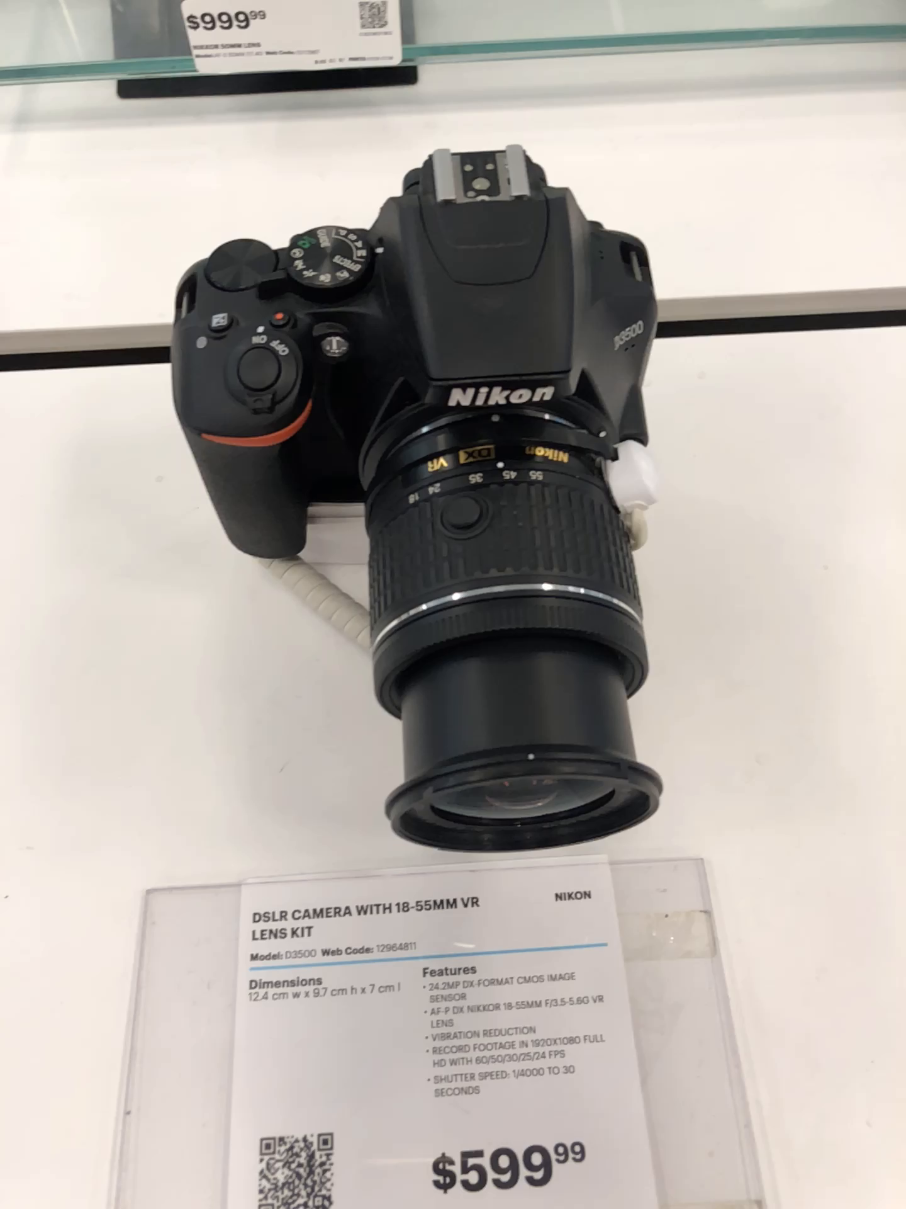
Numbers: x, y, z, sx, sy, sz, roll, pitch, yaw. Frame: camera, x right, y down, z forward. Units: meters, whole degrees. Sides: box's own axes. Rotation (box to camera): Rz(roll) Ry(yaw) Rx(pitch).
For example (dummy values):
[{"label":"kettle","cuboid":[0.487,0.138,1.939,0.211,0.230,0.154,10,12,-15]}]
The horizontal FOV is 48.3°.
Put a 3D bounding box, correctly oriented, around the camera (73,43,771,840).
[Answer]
[{"label":"camera","cuboid":[-0.009,-0.041,0.258,0.120,0.100,0.170,-3,61,-1]}]
